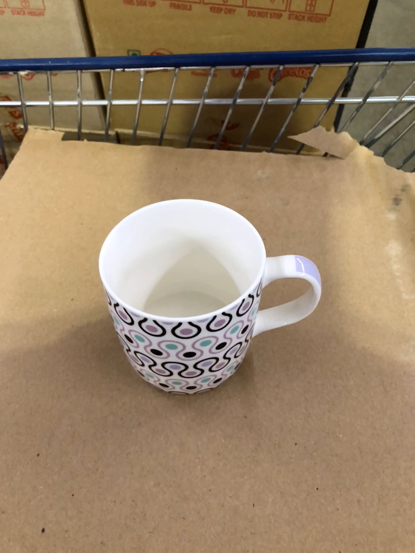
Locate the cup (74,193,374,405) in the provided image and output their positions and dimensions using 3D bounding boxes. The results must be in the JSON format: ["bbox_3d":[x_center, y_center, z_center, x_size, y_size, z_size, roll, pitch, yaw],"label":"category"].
[{"bbox_3d":[0.008,0.015,0.280,0.140,0.090,0.090,1,50,0],"label":"cup"}]
